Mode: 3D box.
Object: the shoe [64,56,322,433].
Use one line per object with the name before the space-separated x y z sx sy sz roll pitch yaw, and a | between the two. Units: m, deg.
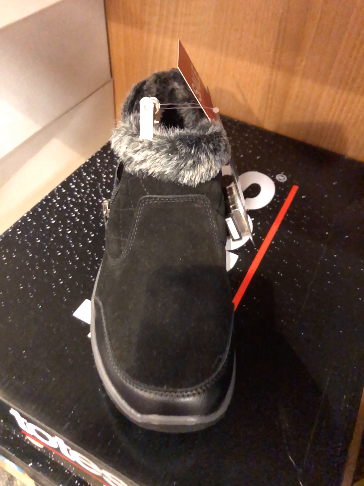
shoe | -0.005 -0.018 0.288 0.105 0.113 0.250 0 48 -5
